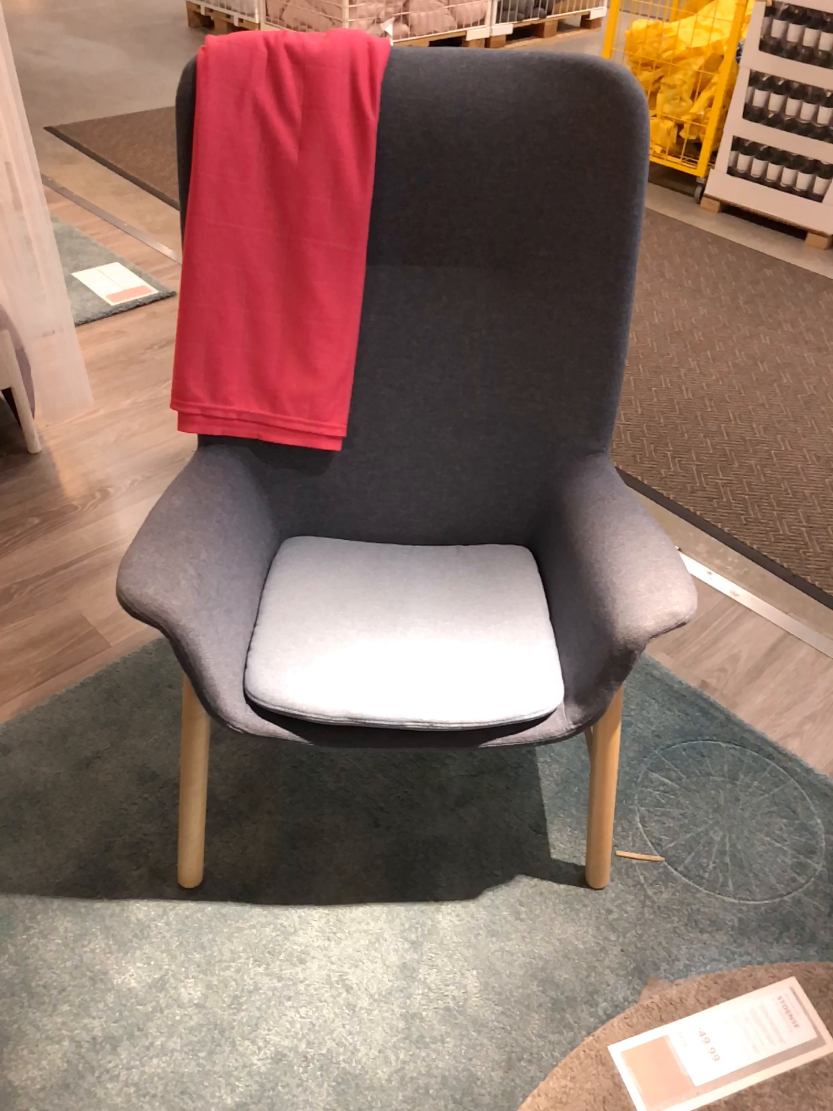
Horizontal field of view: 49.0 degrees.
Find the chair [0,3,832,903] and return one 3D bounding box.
[{"bbox_3d":[-0.018,-0.107,1.269,0.790,0.996,0.703,1,40,-3],"label":"chair"}]
